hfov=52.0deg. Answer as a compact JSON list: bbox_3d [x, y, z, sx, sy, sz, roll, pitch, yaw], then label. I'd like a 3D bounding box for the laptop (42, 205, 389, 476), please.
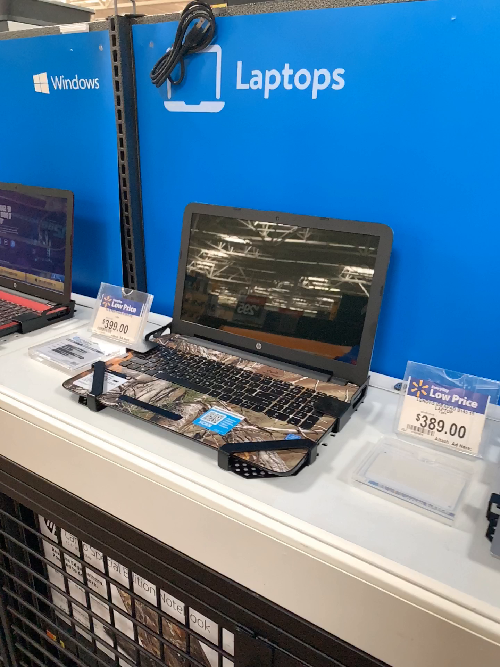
[{"bbox_3d":[-0.040,-0.036,0.740,0.374,0.227,0.304,14,25,30],"label":"laptop"}]
